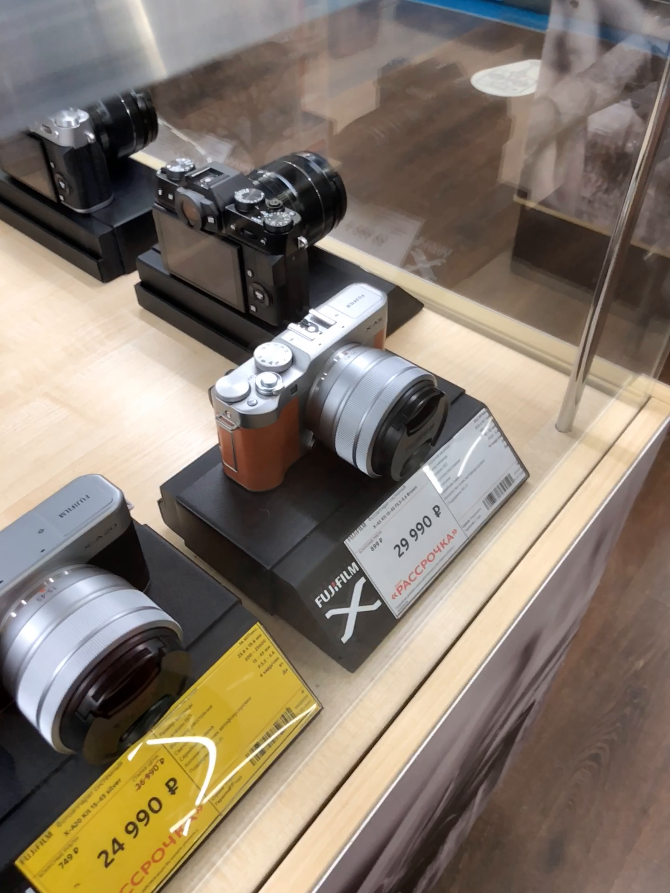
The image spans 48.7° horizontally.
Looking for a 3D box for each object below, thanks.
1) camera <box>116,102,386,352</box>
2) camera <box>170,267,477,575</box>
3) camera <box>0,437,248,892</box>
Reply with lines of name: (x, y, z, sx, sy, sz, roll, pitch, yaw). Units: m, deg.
camera: (-0.053, -0.154, 0.505, 0.131, 0.090, 0.113, 31, 54, 26)
camera: (-0.003, -0.019, 0.385, 0.093, 0.075, 0.121, 30, 54, 26)
camera: (-0.113, 0.077, 0.288, 0.093, 0.075, 0.121, 30, 54, 26)
